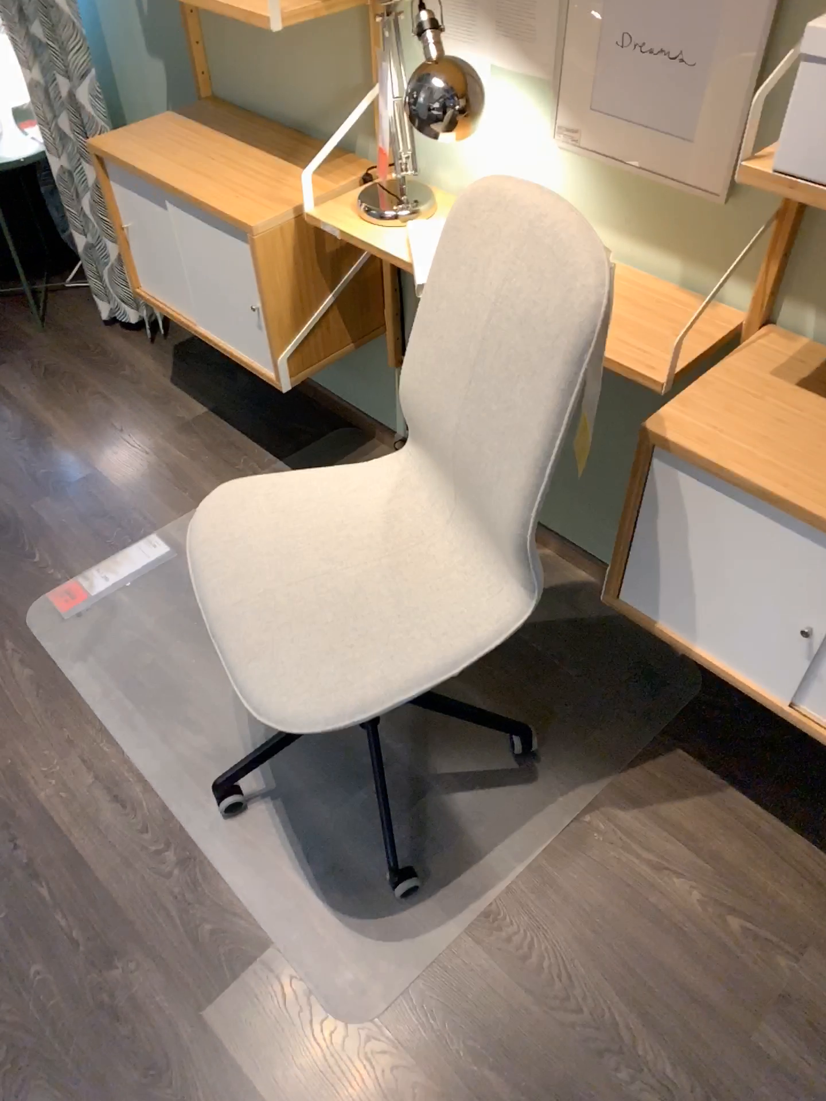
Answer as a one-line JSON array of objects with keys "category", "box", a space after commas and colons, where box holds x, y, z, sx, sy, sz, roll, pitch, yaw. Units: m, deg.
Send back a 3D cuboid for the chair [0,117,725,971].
[{"category": "chair", "box": [-0.110, 0.026, 1.240, 0.620, 0.966, 0.622, -18, 49, -15]}]
